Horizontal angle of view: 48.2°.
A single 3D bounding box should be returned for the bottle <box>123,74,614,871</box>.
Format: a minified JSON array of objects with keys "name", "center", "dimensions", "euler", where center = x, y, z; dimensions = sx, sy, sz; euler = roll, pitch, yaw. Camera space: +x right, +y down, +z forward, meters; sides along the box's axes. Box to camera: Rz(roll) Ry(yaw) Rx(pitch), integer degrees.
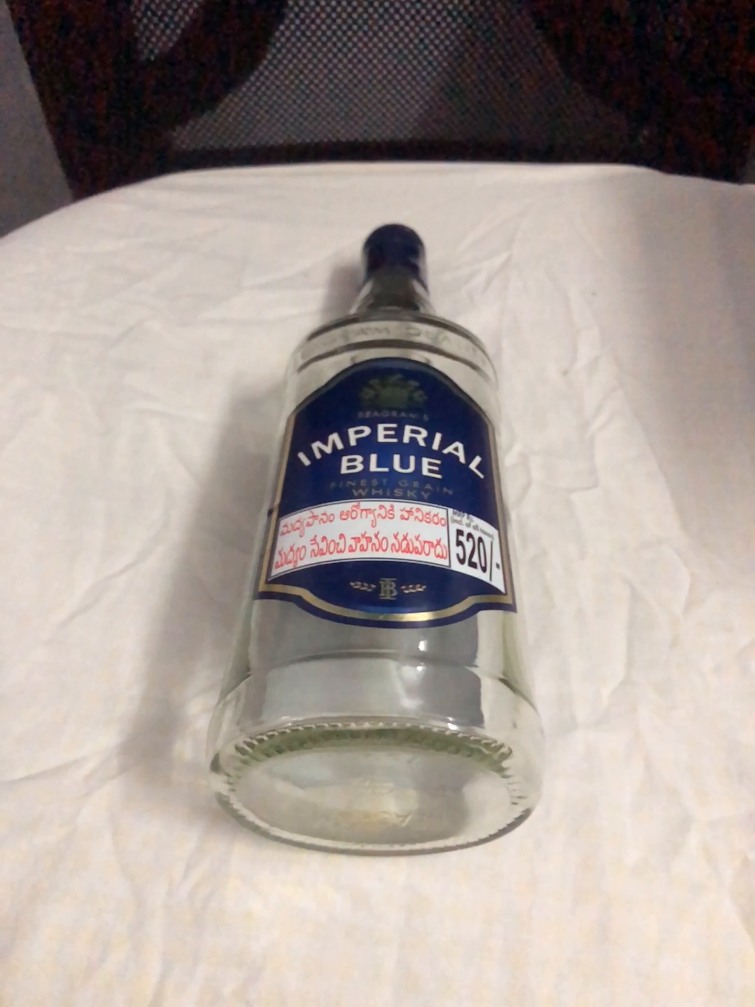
[{"name":"bottle","center":[0.003,-0.037,0.272],"dimensions":[0.090,0.080,0.271],"euler":[1,50,1]}]
